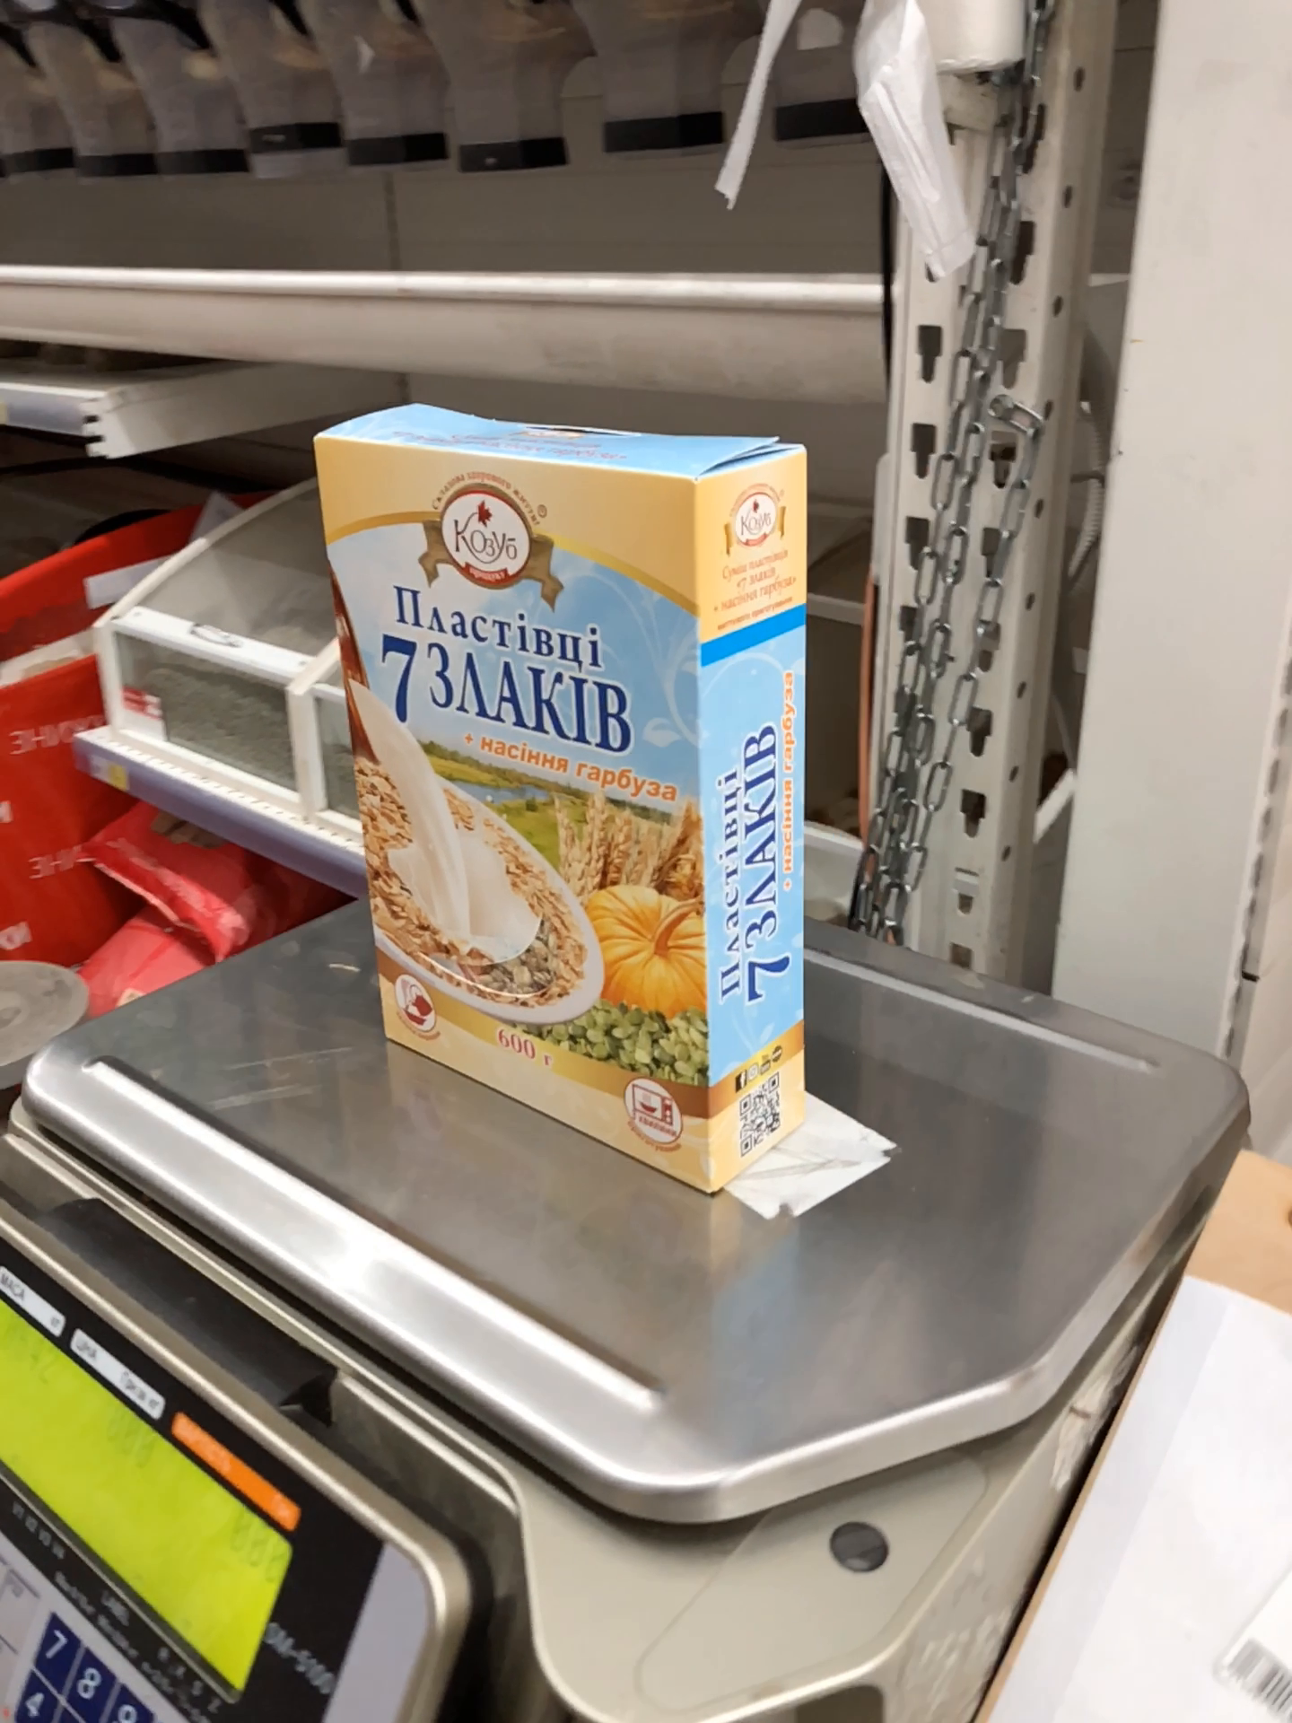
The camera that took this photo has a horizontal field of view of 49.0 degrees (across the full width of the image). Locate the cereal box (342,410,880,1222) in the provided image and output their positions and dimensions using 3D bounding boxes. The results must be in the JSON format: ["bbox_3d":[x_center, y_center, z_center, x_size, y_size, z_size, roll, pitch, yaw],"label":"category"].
[{"bbox_3d":[-0.012,-0.021,0.468,0.160,0.229,0.060,18,31,37],"label":"cereal box"}]
